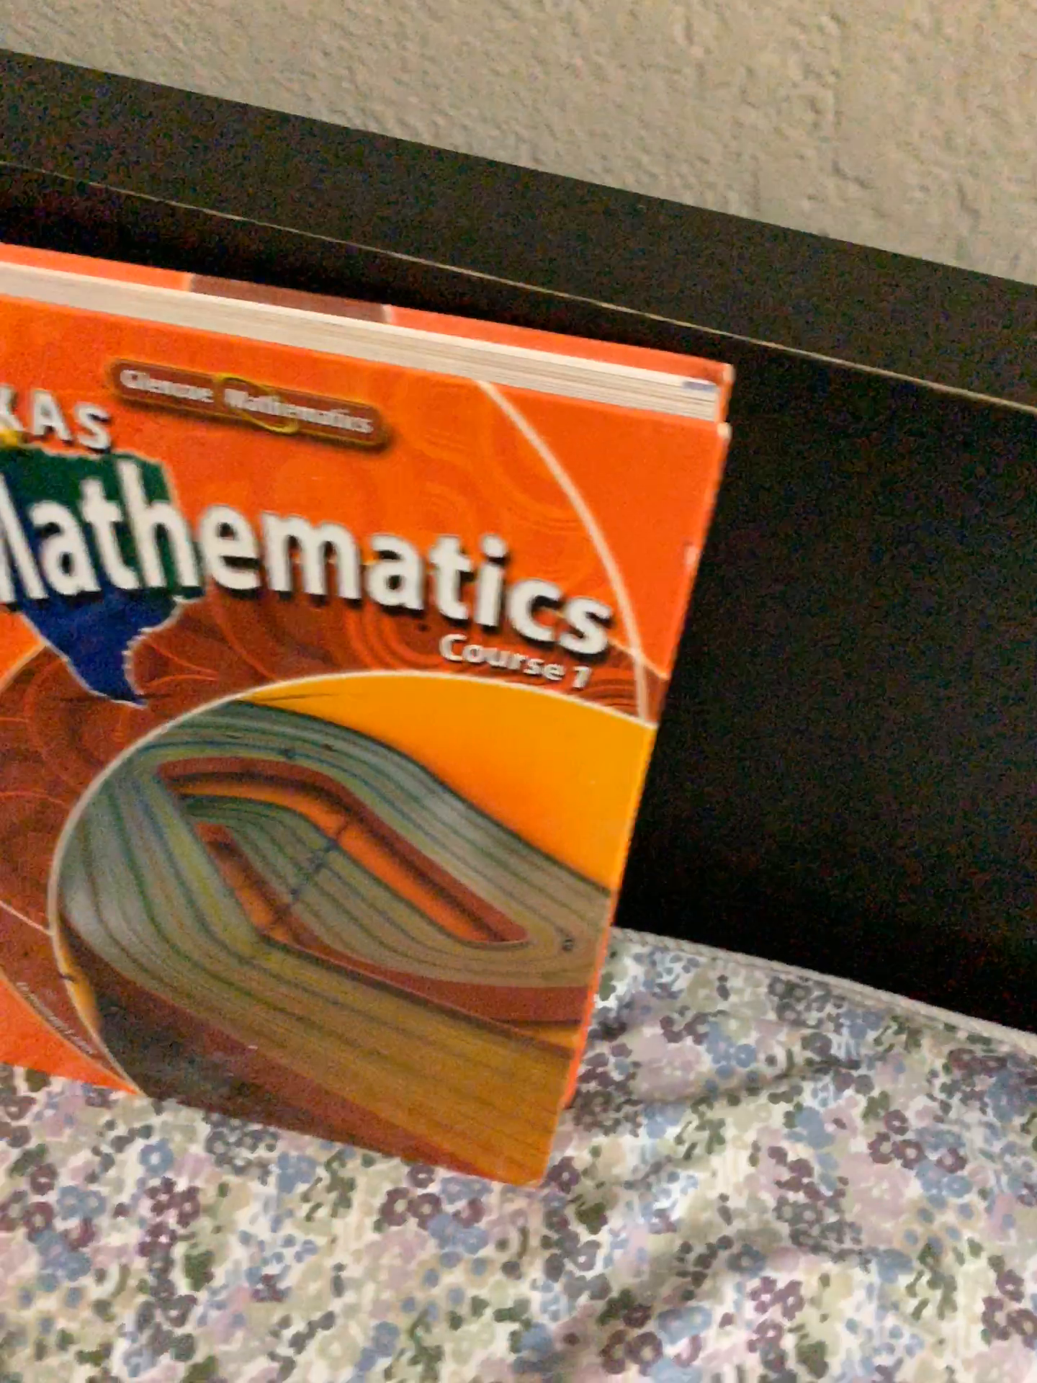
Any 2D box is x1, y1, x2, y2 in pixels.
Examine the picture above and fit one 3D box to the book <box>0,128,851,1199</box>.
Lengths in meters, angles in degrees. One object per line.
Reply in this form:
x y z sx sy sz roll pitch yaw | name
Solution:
-0.069 0.027 0.309 0.230 0.299 0.050 11 38 1 | book
